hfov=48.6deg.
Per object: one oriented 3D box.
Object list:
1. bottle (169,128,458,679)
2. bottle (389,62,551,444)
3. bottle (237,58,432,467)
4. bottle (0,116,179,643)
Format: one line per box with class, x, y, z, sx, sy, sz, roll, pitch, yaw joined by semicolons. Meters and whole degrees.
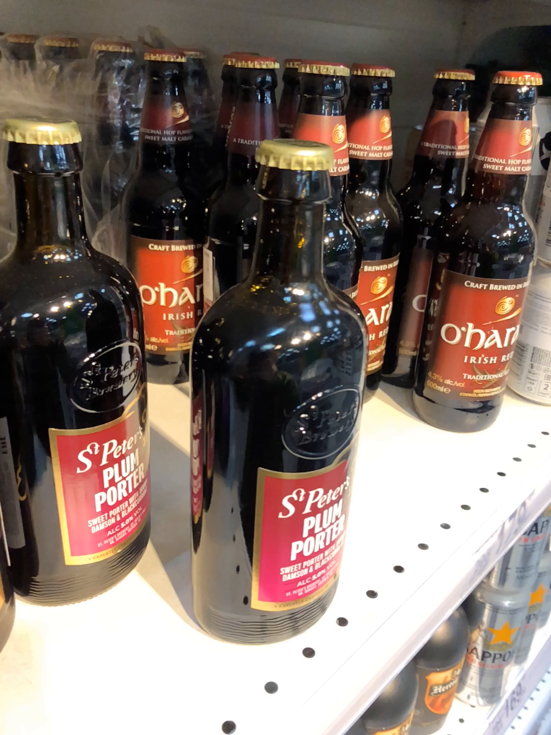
bottle;0.009;0.016;0.255;0.082;0.209;0.058;-20;35;-39
bottle;0.145;-0.074;0.416;0.074;0.235;0.070;3;27;-1
bottle;0.028;-0.061;0.381;0.072;0.230;0.070;3;27;-1
bottle;-0.098;0.006;0.276;0.069;0.213;0.079;20;31;30
